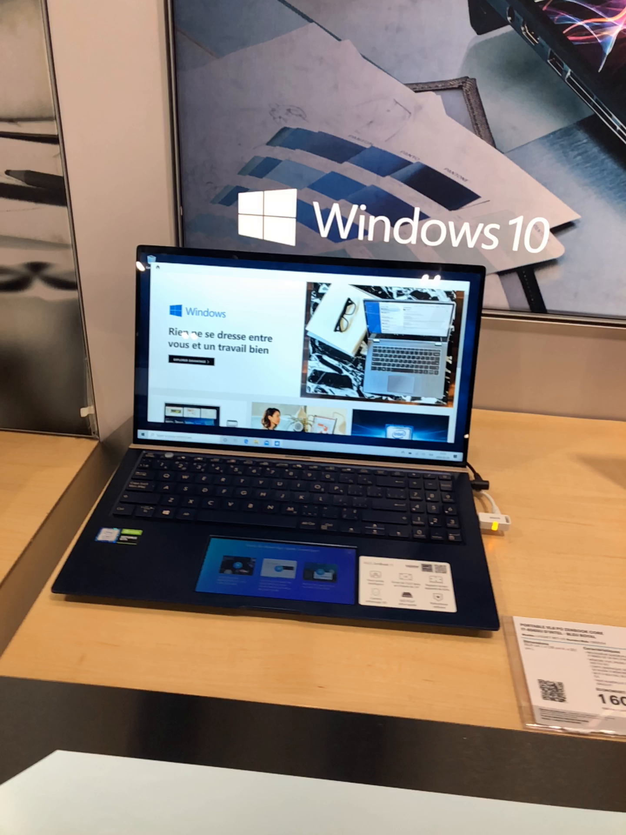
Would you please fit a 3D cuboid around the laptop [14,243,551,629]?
[{"bbox_3d":[-0.017,-0.006,0.594,0.337,0.183,0.274,5,31,2],"label":"laptop"}]
